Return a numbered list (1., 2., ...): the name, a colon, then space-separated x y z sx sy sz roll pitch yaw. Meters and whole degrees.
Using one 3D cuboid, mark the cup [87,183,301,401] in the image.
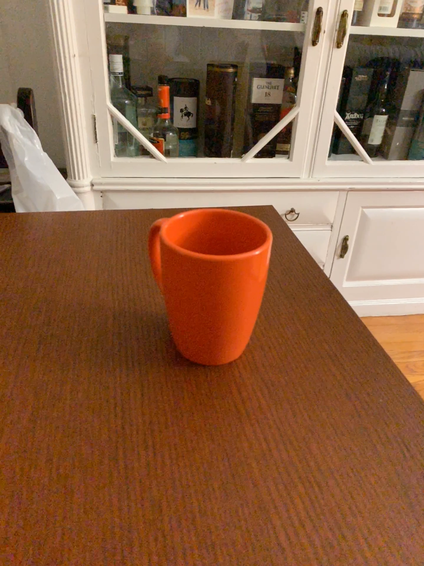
1. cup: -0.016 -0.002 0.360 0.130 0.109 0.100 26 39 32
